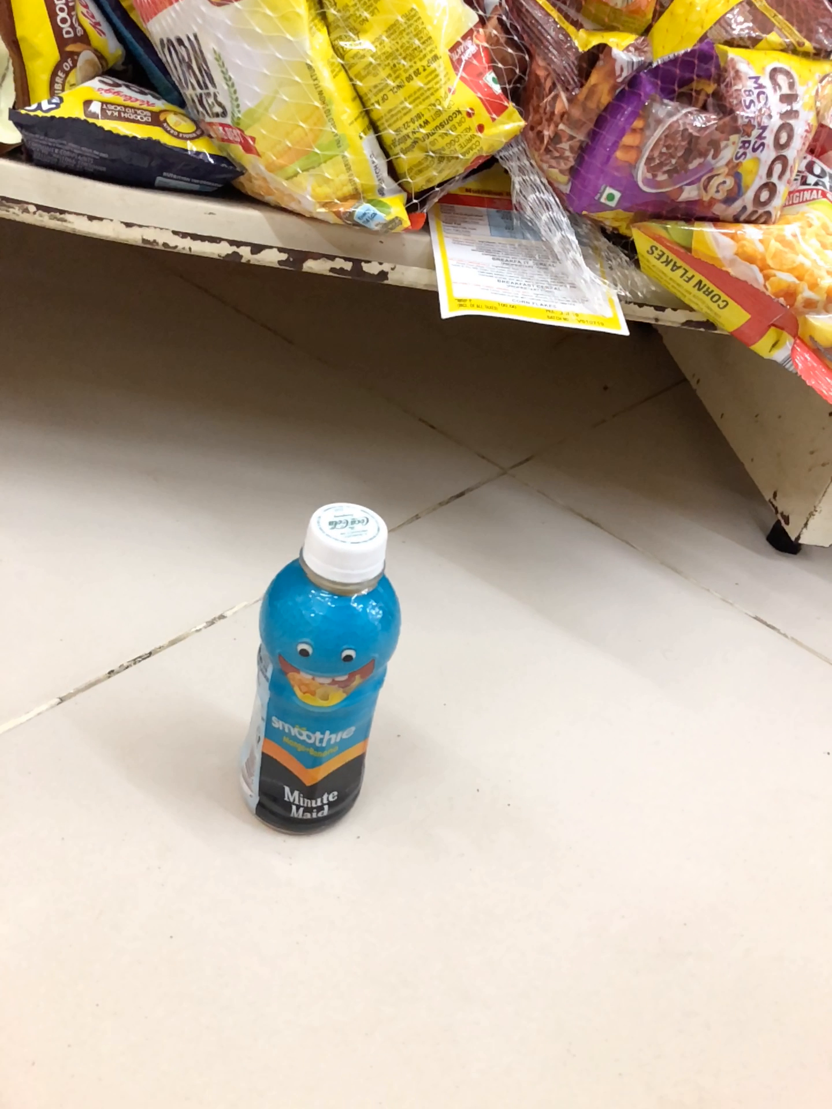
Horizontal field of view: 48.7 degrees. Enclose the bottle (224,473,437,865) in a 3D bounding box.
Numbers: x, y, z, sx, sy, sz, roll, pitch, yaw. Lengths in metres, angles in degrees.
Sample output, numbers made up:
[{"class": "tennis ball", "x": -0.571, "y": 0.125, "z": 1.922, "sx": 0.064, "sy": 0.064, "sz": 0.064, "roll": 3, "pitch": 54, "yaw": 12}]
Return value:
[{"class": "bottle", "x": -0.042, "y": 0.053, "z": 0.381, "sx": 0.060, "sy": 0.159, "sz": 0.060, "roll": 10, "pitch": 34, "yaw": -6}]
